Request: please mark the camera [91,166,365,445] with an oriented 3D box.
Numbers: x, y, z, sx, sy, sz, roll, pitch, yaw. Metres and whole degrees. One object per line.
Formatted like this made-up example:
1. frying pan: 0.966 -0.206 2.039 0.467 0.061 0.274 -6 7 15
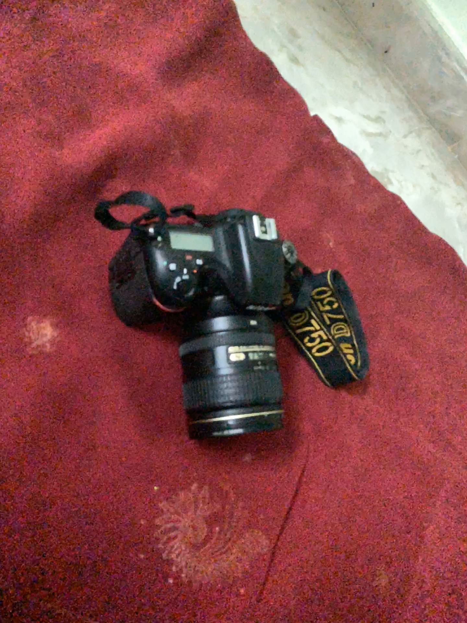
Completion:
1. camera: -0.010 0.004 0.355 0.151 0.110 0.160 1 73 -34
